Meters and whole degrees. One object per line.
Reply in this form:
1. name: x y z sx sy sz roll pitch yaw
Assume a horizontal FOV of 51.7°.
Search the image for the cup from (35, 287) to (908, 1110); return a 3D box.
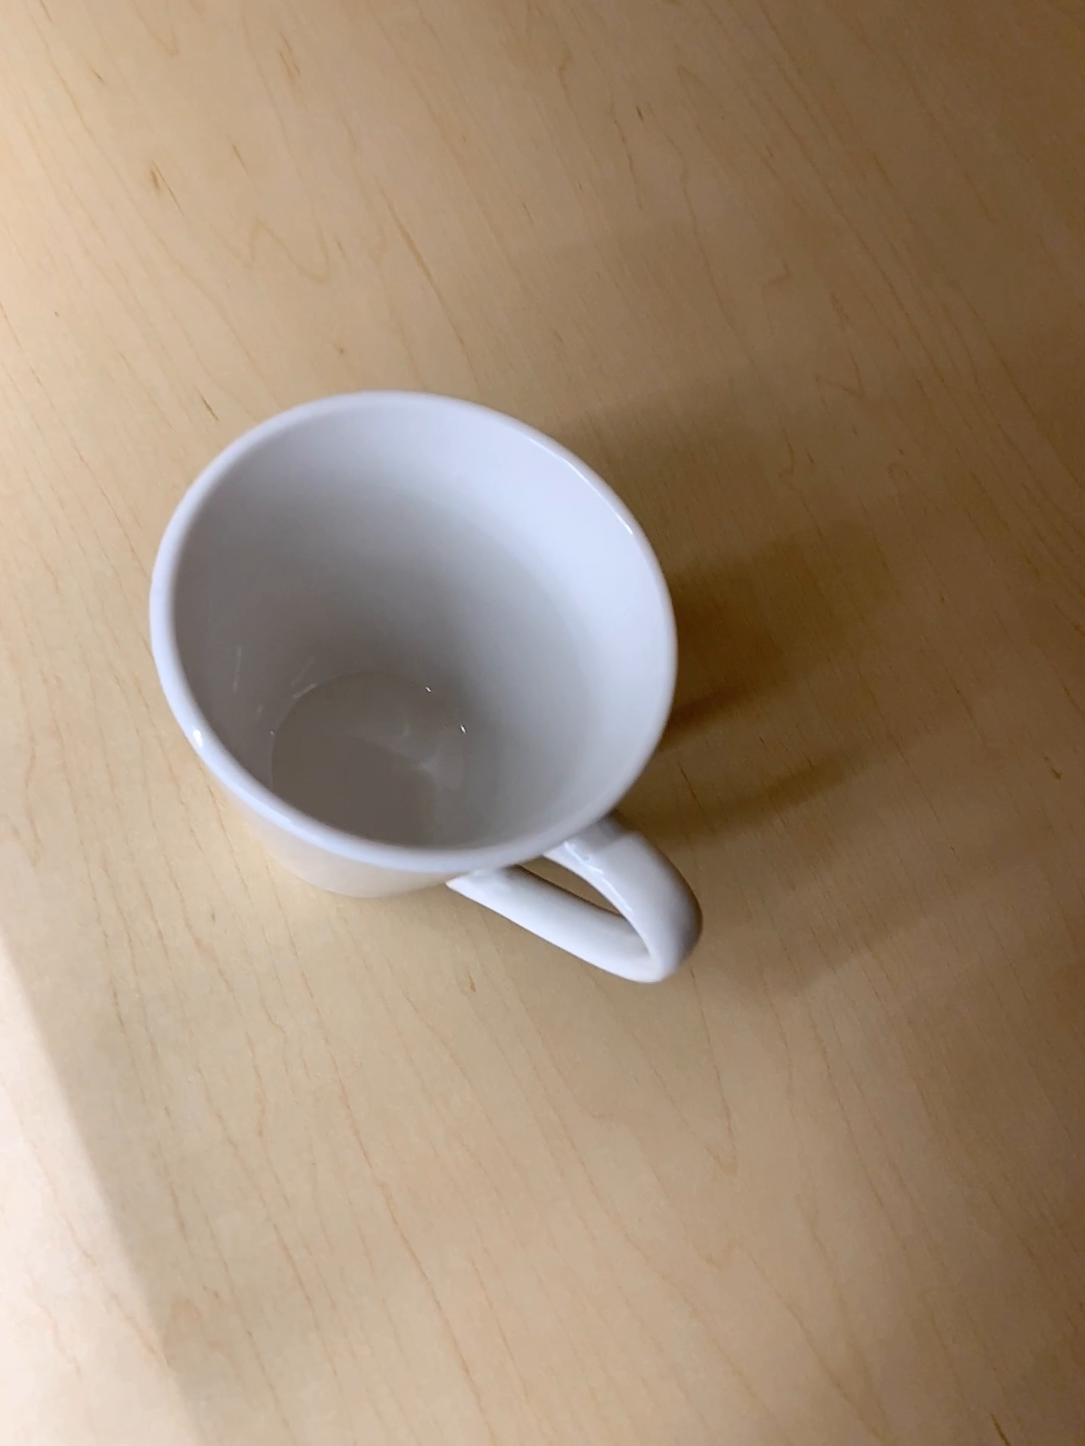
1. cup: -0.017 0.002 0.243 0.128 0.090 0.093 41 68 2
